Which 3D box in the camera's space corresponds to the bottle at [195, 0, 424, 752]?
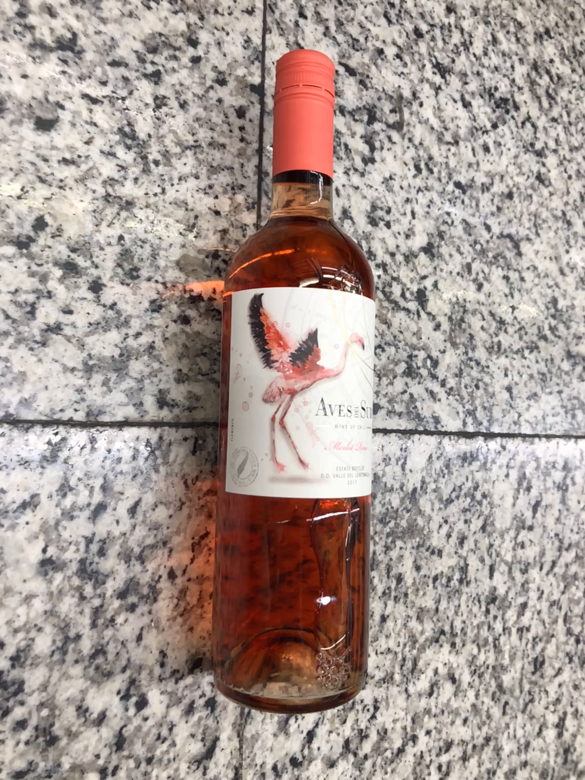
[{"bbox_3d":[0.008,-0.017,0.333,0.090,0.070,0.340,2,86,-36],"label":"bottle"}]
